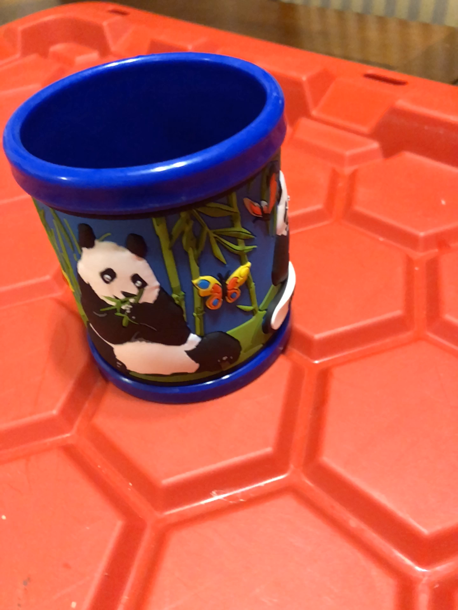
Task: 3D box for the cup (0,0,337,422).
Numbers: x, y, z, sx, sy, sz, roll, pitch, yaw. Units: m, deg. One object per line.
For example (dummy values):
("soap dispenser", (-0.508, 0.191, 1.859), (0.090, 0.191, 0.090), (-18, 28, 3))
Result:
("cup", (-0.010, -0.039, 0.191), (0.090, 0.099, 0.121), (2, 45, 9))
